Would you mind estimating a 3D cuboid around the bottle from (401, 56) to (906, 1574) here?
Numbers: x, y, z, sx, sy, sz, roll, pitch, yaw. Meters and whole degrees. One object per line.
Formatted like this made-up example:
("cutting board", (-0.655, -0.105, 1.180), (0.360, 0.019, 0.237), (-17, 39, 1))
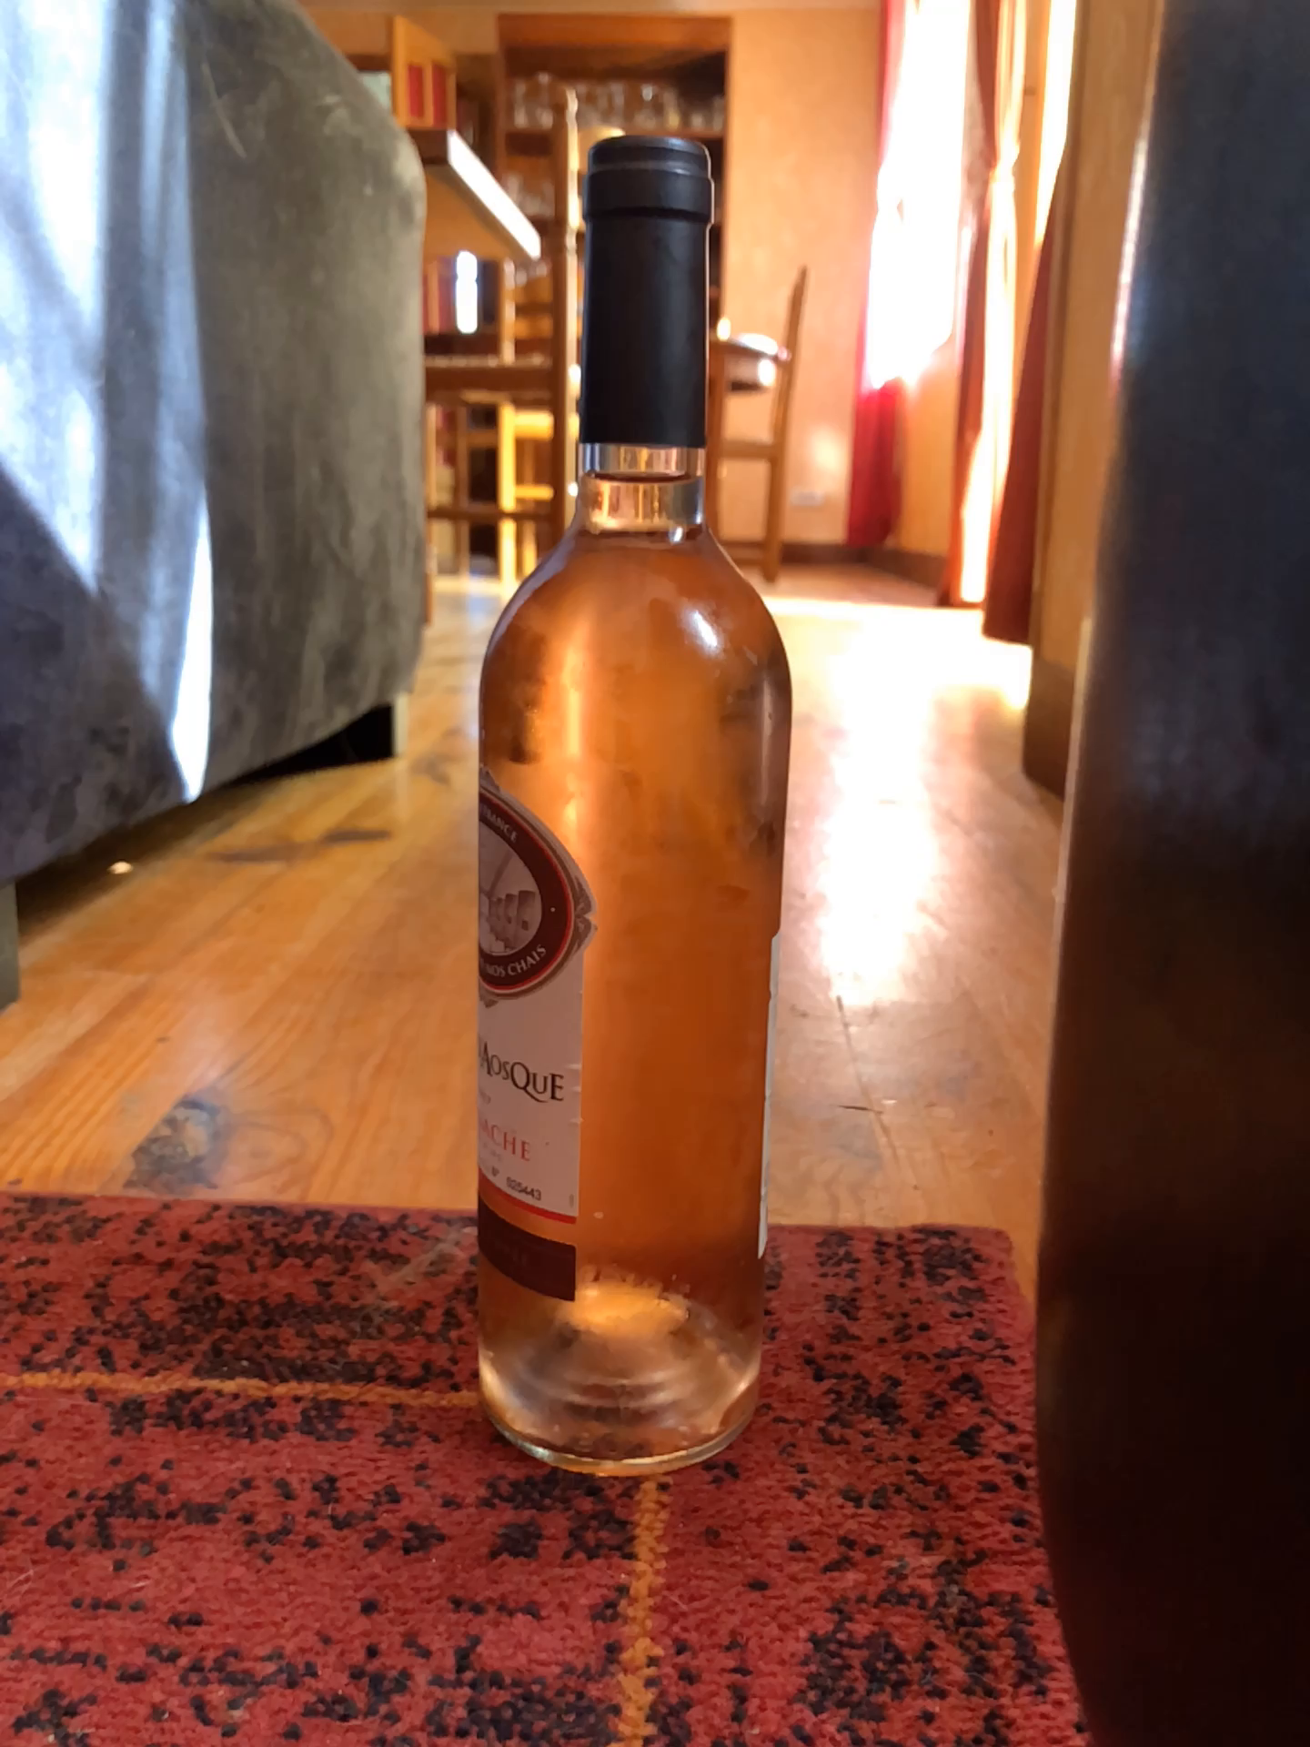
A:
("bottle", (-0.006, -0.007, 0.348), (0.080, 0.309, 0.090), (-5, 14, -22))
